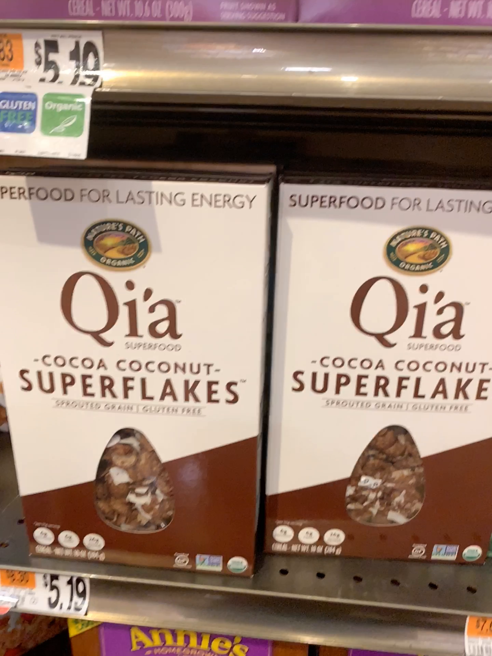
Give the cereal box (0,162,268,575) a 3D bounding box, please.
[{"bbox_3d":[-0.072,0.031,0.333,0.160,0.259,0.060,3,20,4],"label":"cereal box"}]
